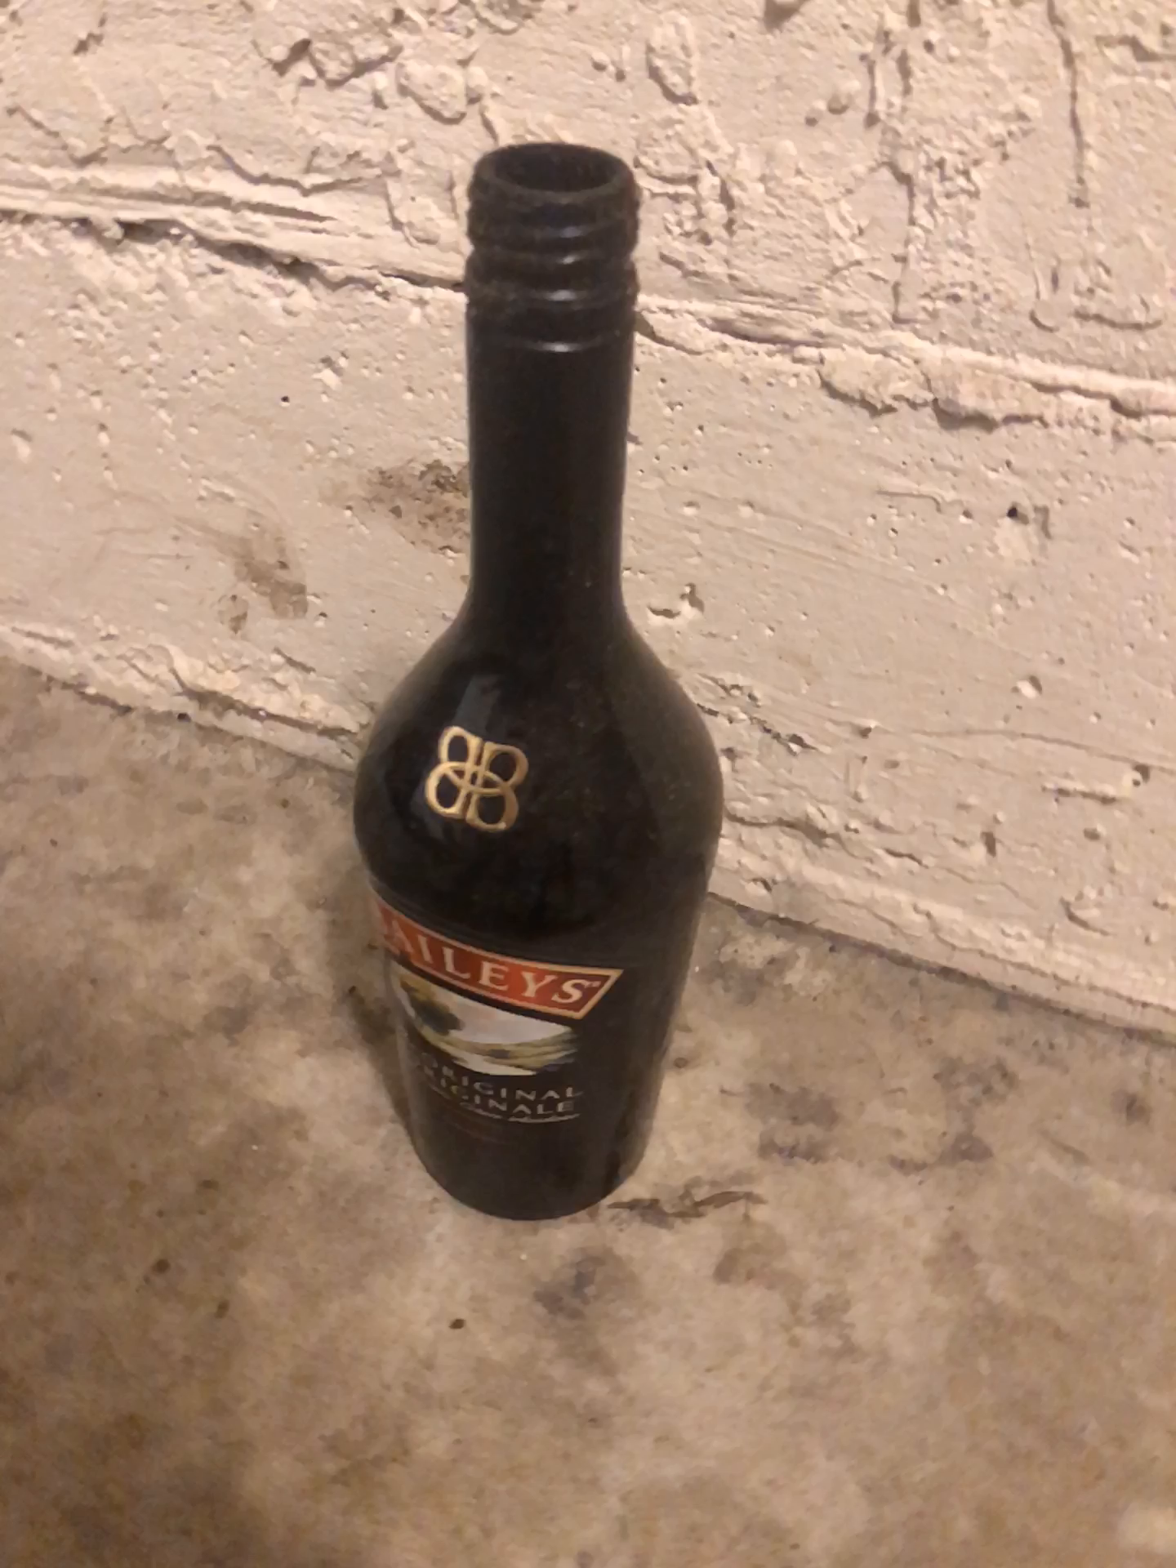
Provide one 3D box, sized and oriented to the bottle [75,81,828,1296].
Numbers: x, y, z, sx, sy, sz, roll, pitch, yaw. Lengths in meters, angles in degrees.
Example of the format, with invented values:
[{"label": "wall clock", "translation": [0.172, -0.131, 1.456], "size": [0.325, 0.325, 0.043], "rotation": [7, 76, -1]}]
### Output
[{"label": "bottle", "translation": [-0.019, 0.000, 0.291], "size": [0.090, 0.258, 0.080], "rotation": [18, 45, 19]}]
